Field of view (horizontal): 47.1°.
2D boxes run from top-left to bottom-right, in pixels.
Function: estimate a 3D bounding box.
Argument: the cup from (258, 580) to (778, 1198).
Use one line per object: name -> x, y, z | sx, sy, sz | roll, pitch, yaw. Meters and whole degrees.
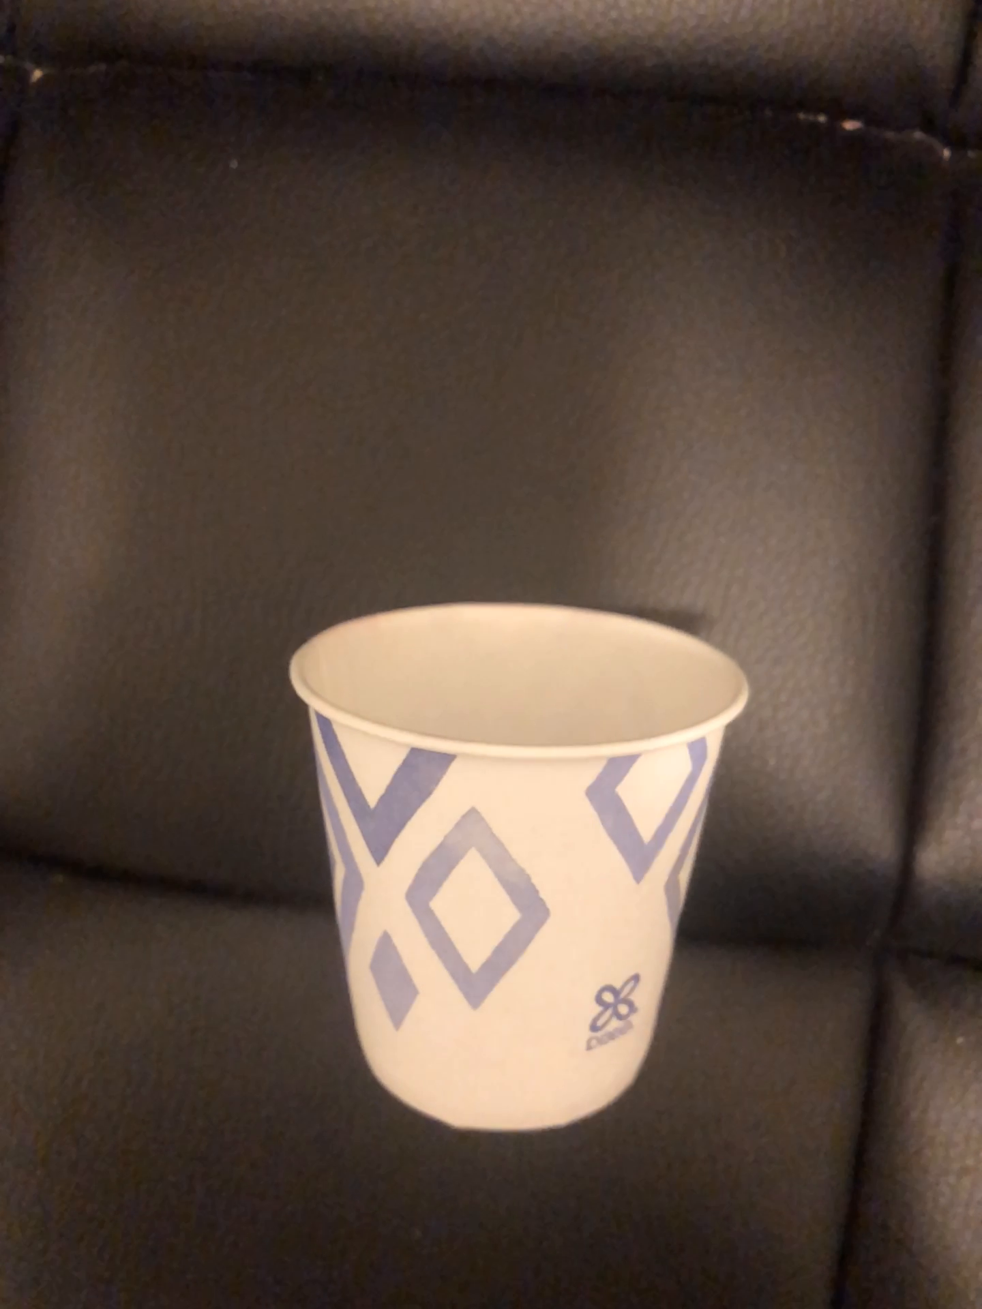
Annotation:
cup -> 0.003, 0.027, 0.146 | 0.052, 0.049, 0.058 | 3, 110, 2
